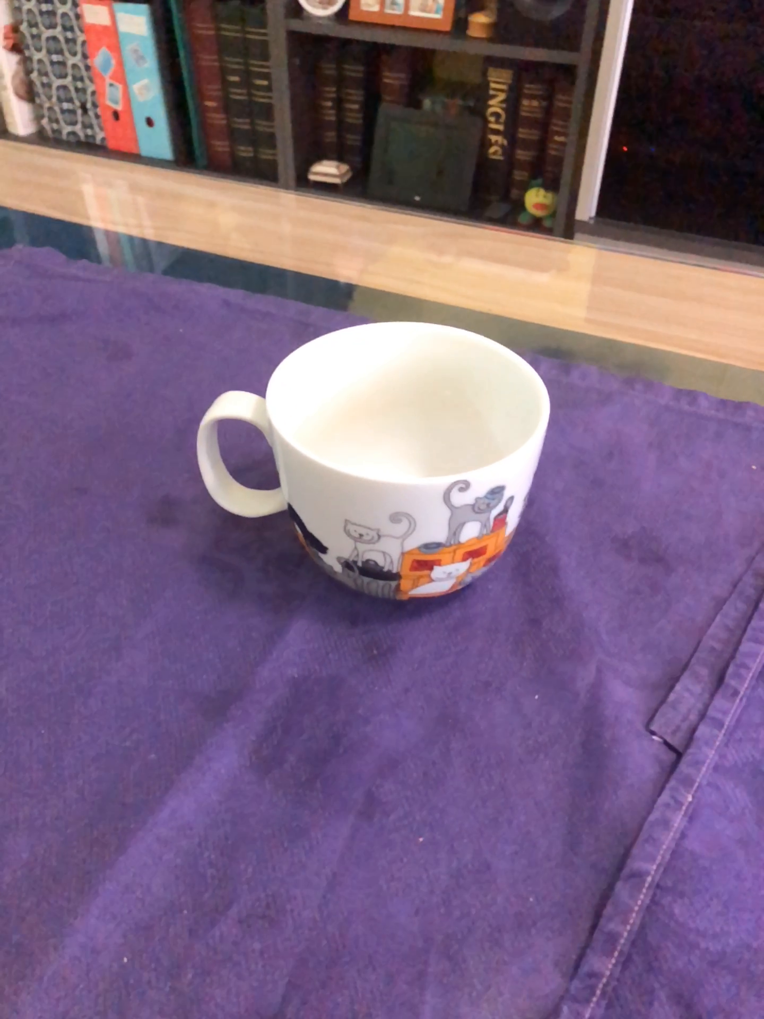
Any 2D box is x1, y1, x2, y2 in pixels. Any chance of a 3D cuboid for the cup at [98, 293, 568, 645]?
[{"bbox_3d":[-0.010,-0.019,0.309,0.140,0.070,0.090,8,42,9],"label":"cup"}]
